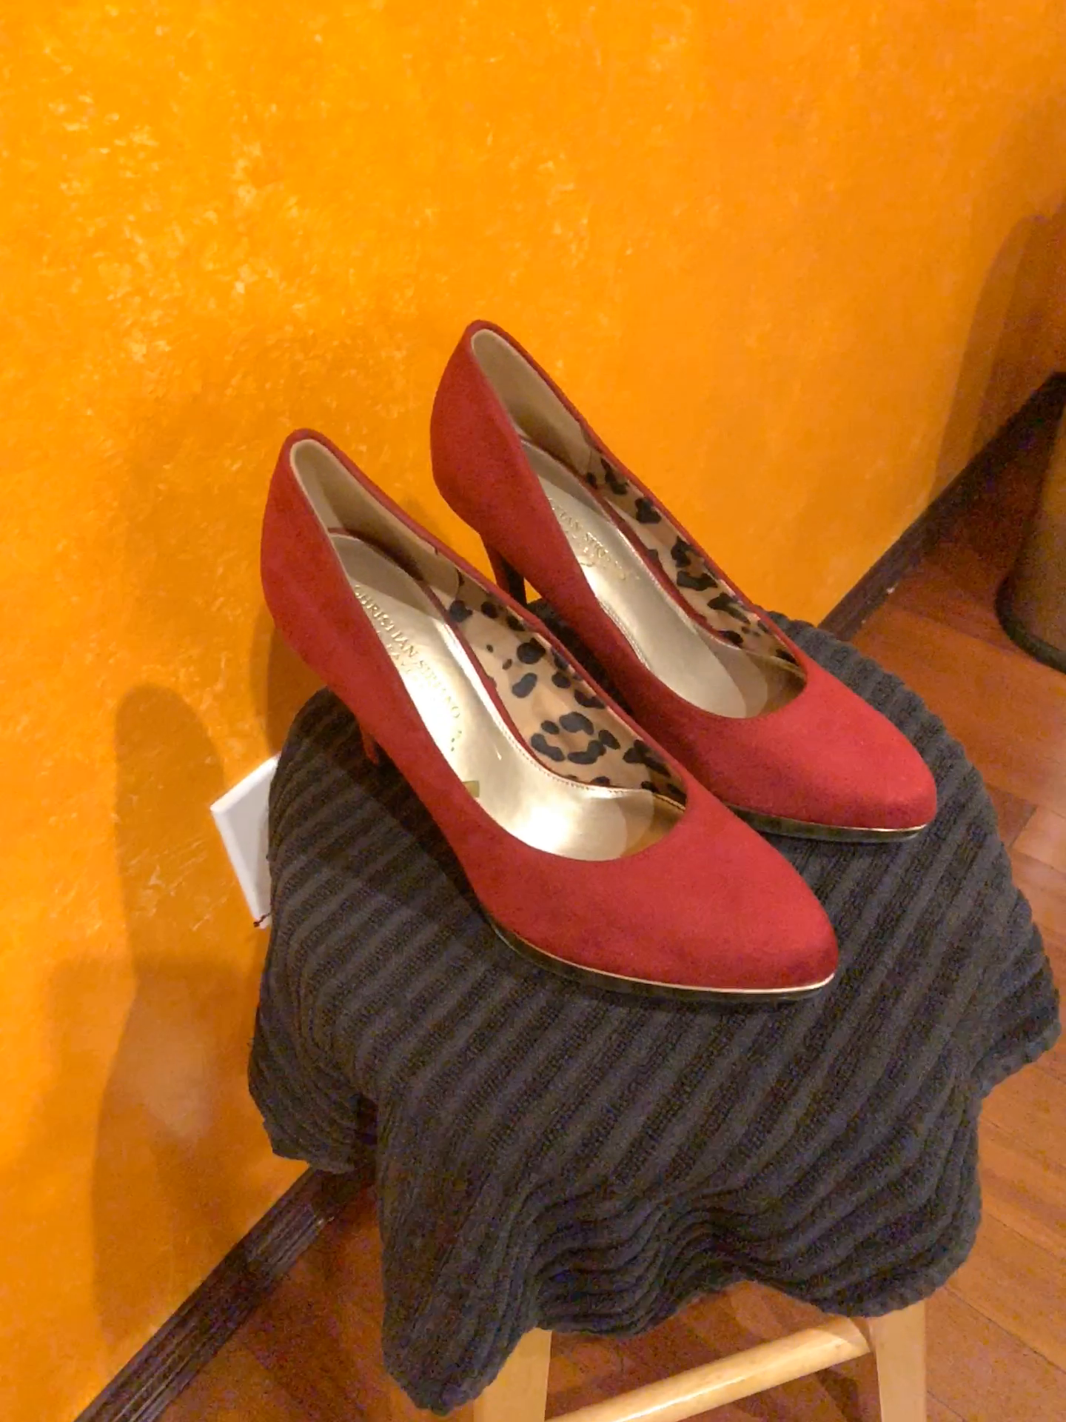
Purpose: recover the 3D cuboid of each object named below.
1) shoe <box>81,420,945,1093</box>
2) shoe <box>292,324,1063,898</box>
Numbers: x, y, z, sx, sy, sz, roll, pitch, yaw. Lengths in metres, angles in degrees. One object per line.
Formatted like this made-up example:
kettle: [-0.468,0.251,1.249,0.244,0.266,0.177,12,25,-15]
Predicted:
shoe: [-0.020,-0.005,0.400,0.291,0.119,0.100,22,46,32]
shoe: [0.042,-0.056,0.435,0.271,0.128,0.093,23,46,33]
